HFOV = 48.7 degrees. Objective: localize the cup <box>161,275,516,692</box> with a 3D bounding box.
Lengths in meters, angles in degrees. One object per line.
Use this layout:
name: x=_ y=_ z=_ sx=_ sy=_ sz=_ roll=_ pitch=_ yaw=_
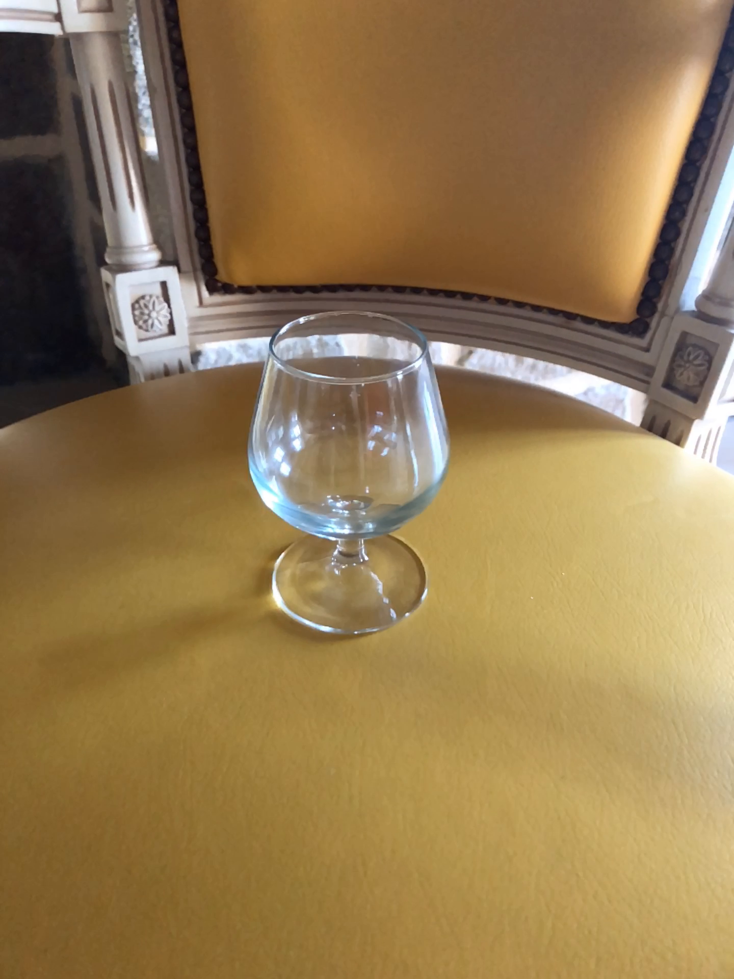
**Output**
cup: x=-0.006 y=-0.007 z=0.259 sx=0.070 sy=0.089 sz=0.081 roll=19 pitch=38 yaw=26
